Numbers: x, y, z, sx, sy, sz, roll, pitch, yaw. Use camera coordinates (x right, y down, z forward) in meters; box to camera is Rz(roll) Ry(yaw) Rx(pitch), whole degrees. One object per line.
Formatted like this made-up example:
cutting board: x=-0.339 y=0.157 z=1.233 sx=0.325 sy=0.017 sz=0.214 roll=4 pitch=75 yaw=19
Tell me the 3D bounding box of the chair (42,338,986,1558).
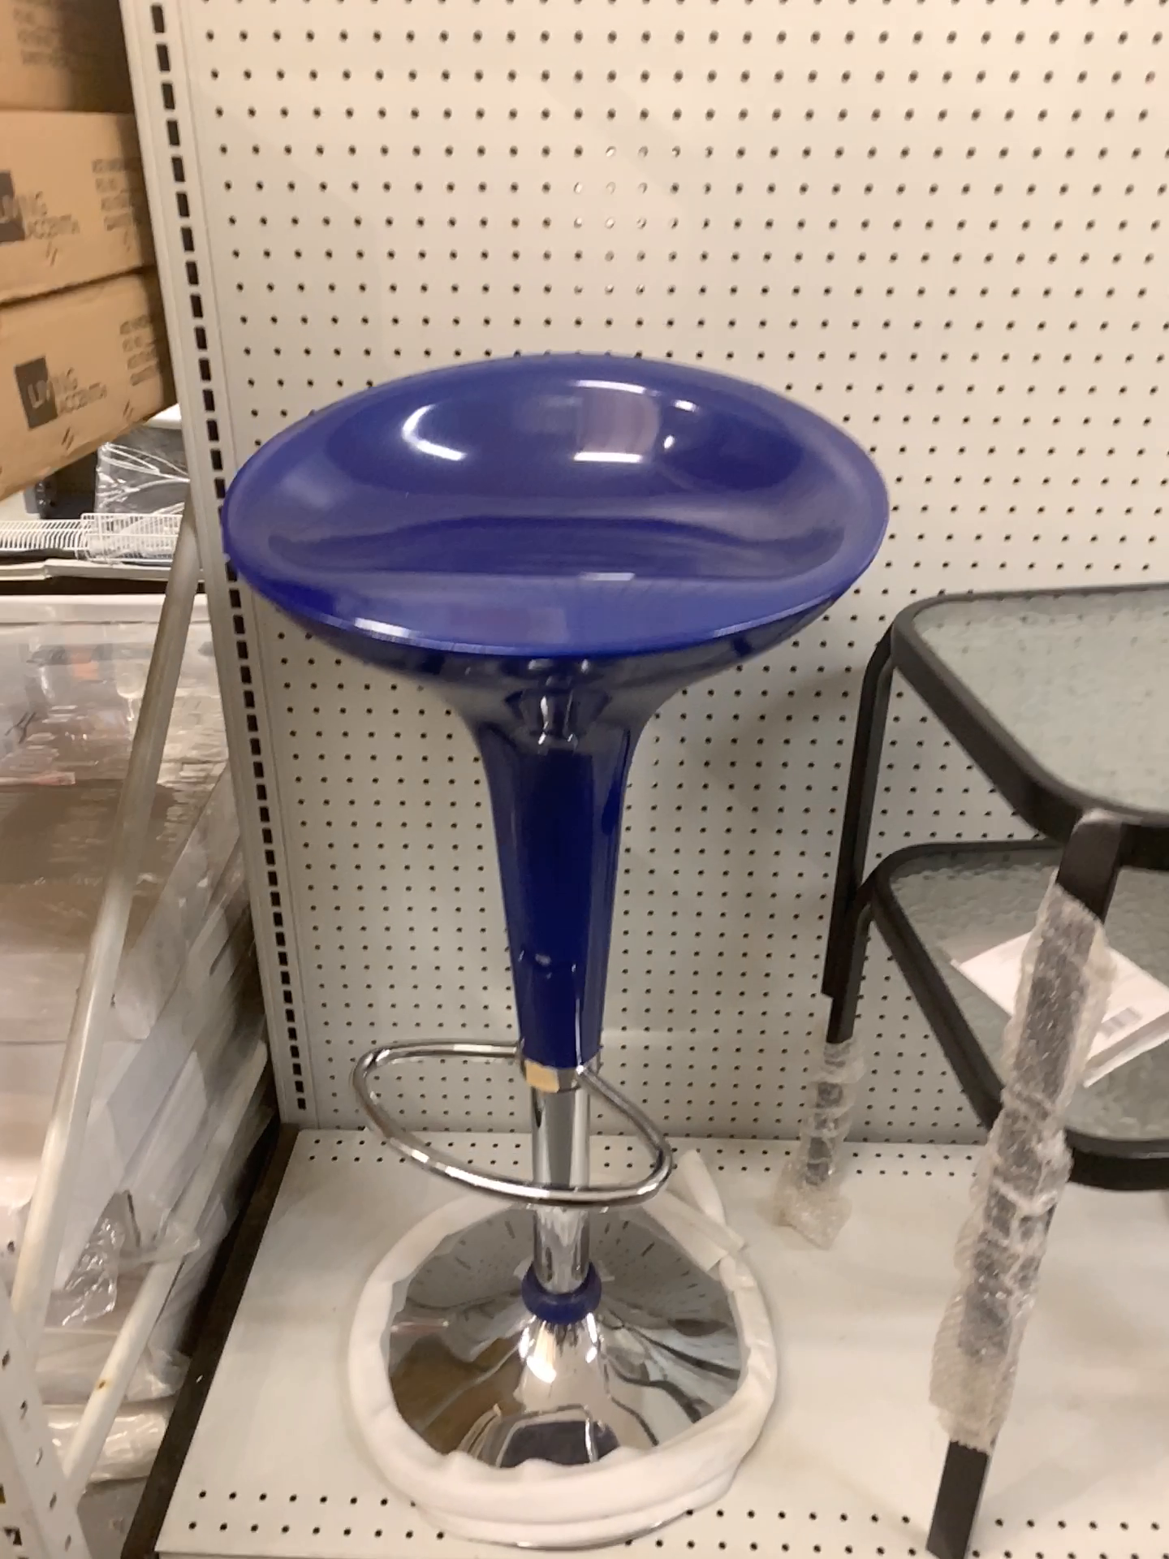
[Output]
chair: x=-0.030 y=0.137 z=0.924 sx=0.434 sy=0.852 sz=0.419 roll=1 pitch=27 yaw=1
